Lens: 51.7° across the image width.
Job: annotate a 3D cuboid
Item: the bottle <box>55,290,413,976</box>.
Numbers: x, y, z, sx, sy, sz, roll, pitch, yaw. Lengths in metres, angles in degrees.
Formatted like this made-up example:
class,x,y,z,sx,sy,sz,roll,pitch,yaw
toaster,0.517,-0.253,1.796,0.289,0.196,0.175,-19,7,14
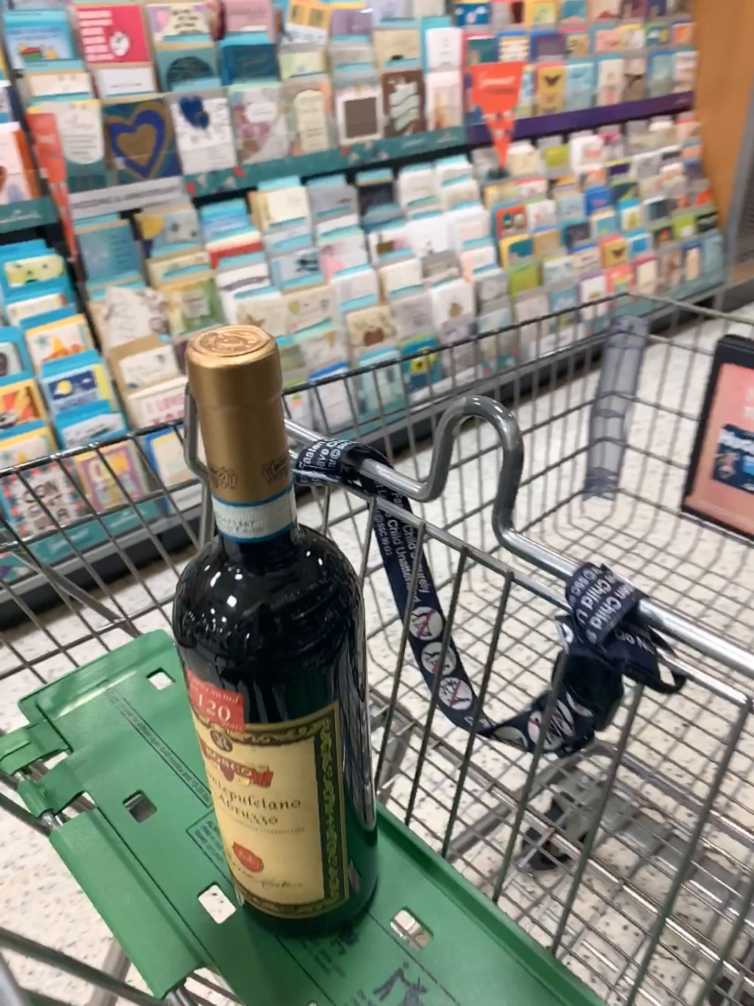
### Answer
class,x,y,z,sx,sy,sz,roll,pitch,yaw
bottle,-0.041,0.066,0.325,0.080,0.277,0.081,-1,32,1
